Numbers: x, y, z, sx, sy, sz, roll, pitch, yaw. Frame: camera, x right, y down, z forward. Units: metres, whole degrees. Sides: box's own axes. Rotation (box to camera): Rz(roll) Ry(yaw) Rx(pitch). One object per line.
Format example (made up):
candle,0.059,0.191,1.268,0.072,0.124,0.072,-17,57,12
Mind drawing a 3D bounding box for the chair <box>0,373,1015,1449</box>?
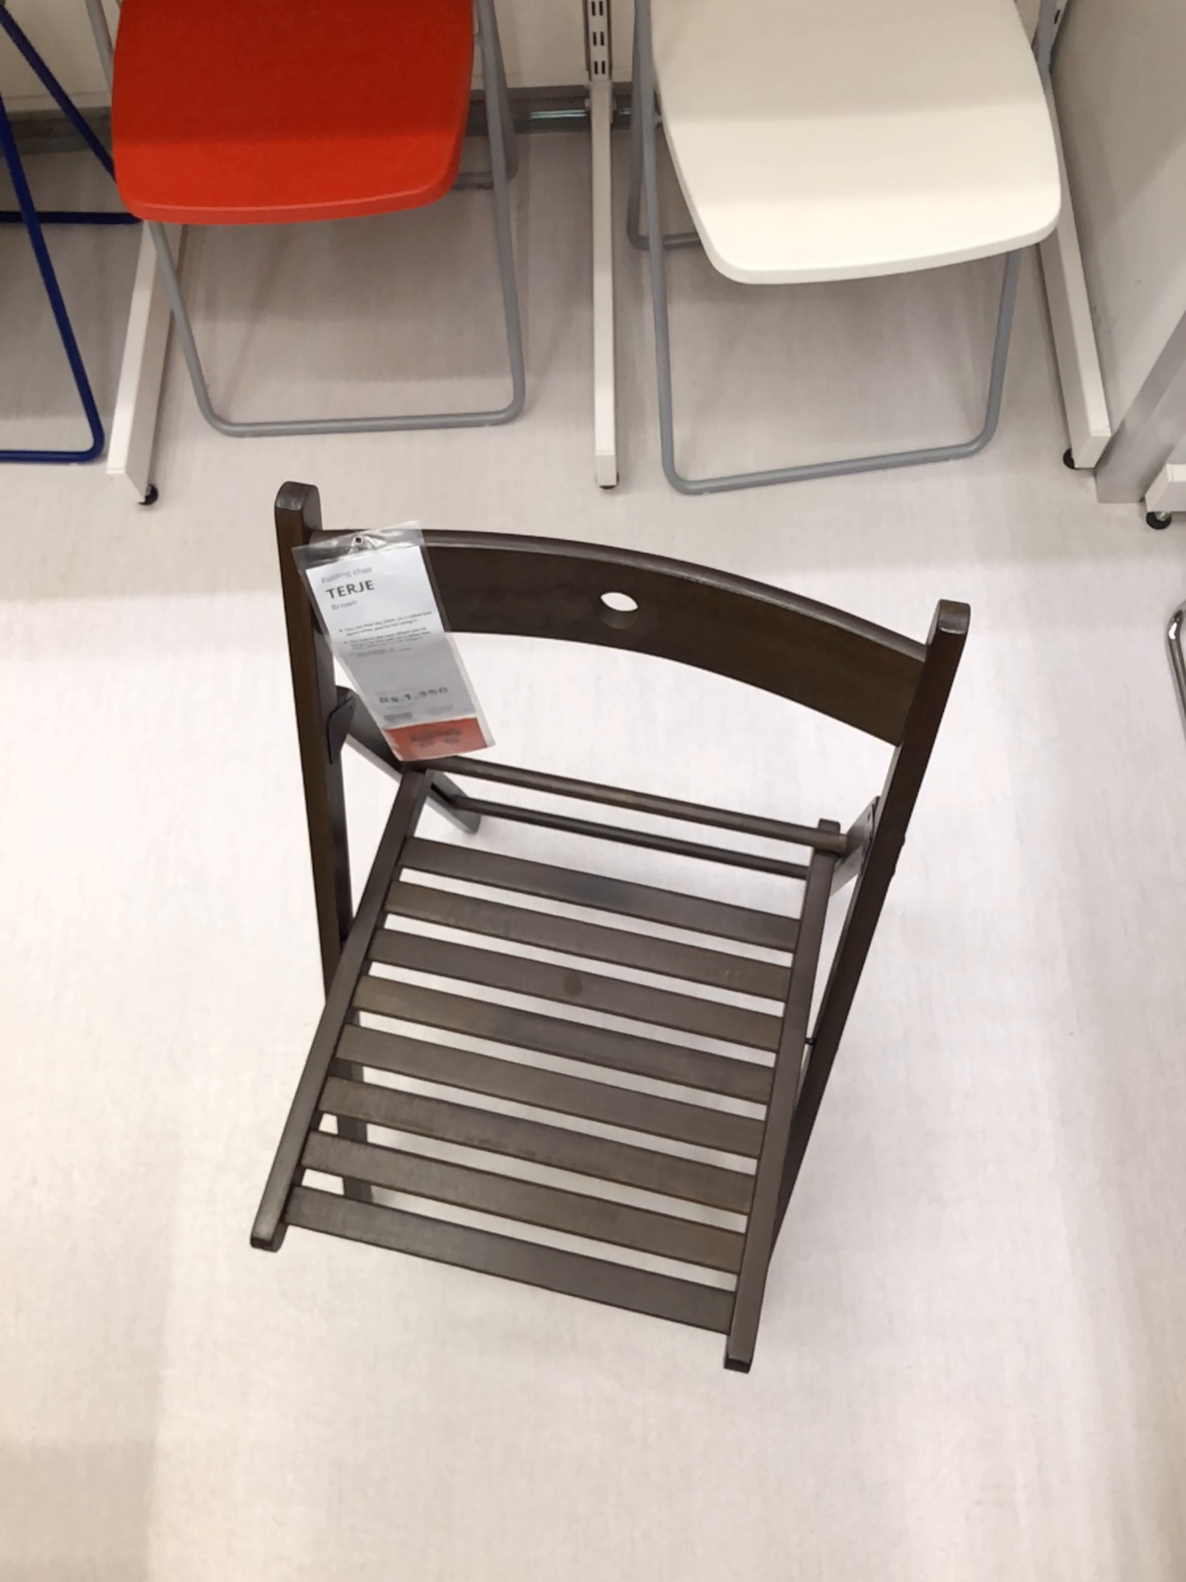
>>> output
chair,-0.022,0.150,1.060,0.460,0.778,0.501,11,71,6
